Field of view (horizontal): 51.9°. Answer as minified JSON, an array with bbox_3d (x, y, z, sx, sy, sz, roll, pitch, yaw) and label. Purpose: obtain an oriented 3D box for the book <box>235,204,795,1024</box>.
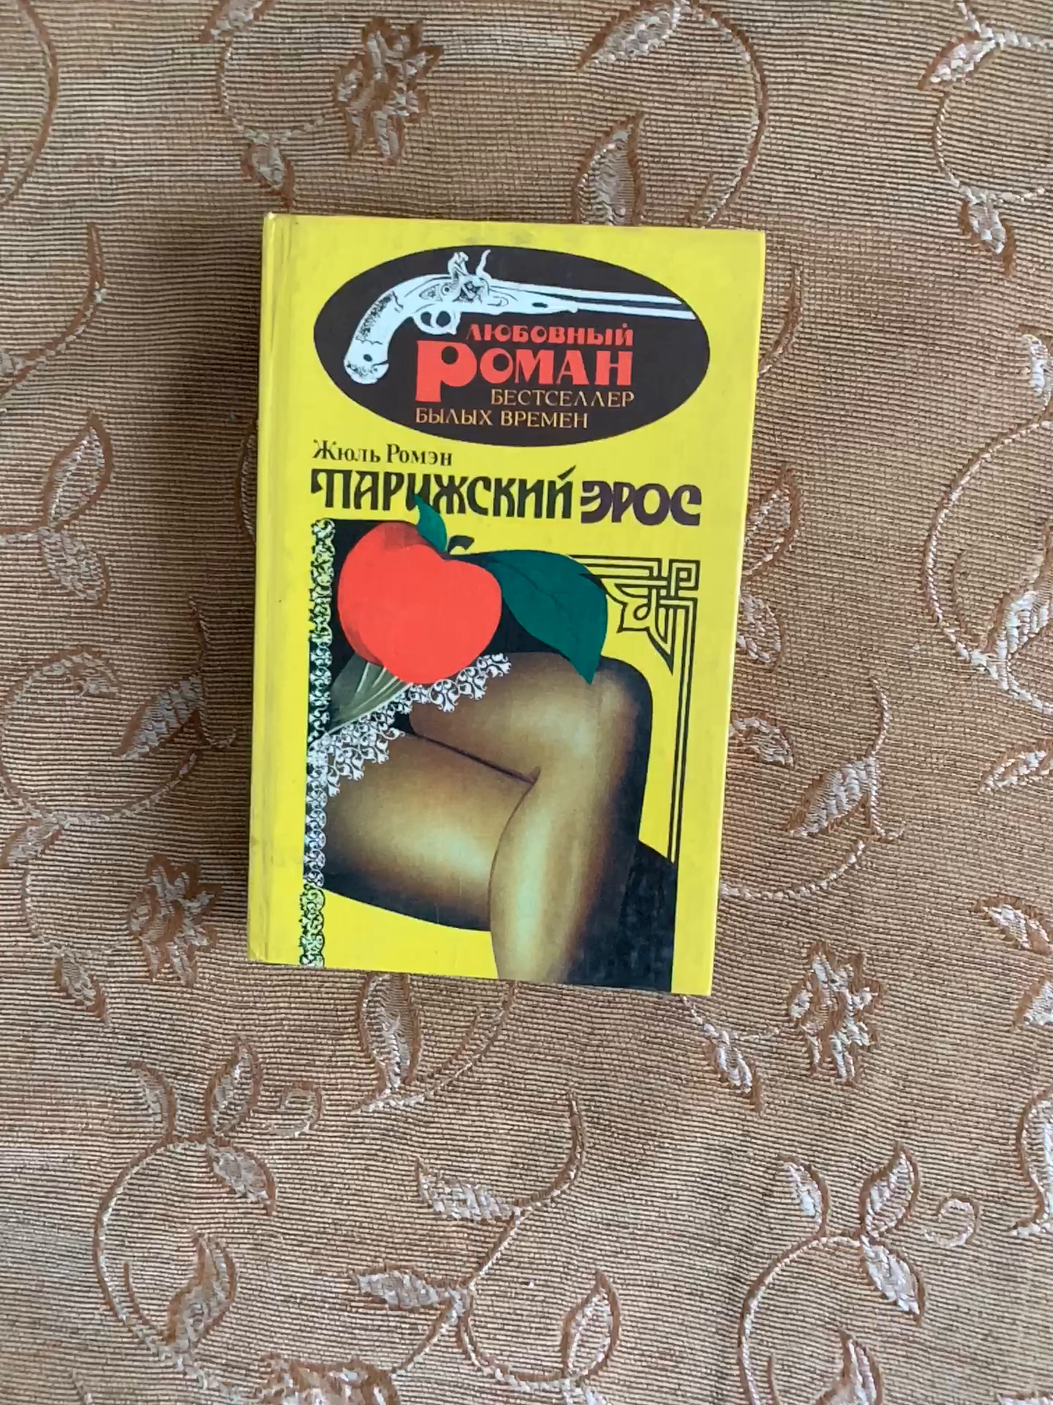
[{"bbox_3d":[-0.006,-0.021,0.287,0.130,0.040,0.196,3,97,2],"label":"book"}]
